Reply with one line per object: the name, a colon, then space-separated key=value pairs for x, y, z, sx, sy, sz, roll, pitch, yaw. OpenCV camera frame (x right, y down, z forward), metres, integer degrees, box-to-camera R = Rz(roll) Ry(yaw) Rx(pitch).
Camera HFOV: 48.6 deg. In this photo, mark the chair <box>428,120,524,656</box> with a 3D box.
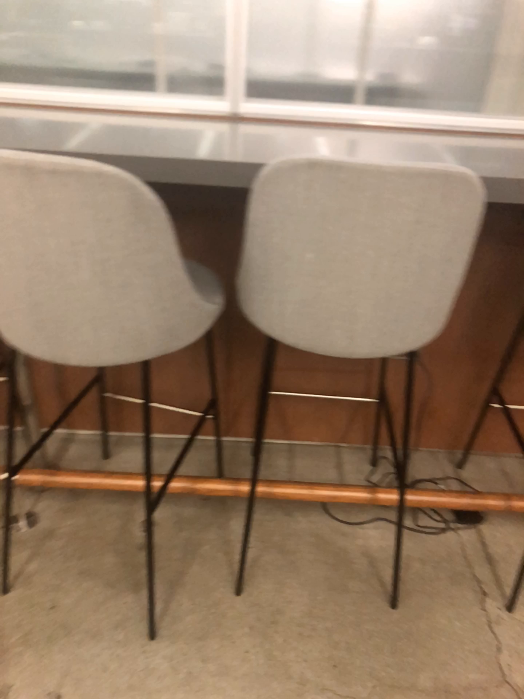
chair: x=0.835 y=0.120 z=1.459 sx=0.490 sy=1.180 sz=0.595 roll=4 pitch=32 yaw=1
